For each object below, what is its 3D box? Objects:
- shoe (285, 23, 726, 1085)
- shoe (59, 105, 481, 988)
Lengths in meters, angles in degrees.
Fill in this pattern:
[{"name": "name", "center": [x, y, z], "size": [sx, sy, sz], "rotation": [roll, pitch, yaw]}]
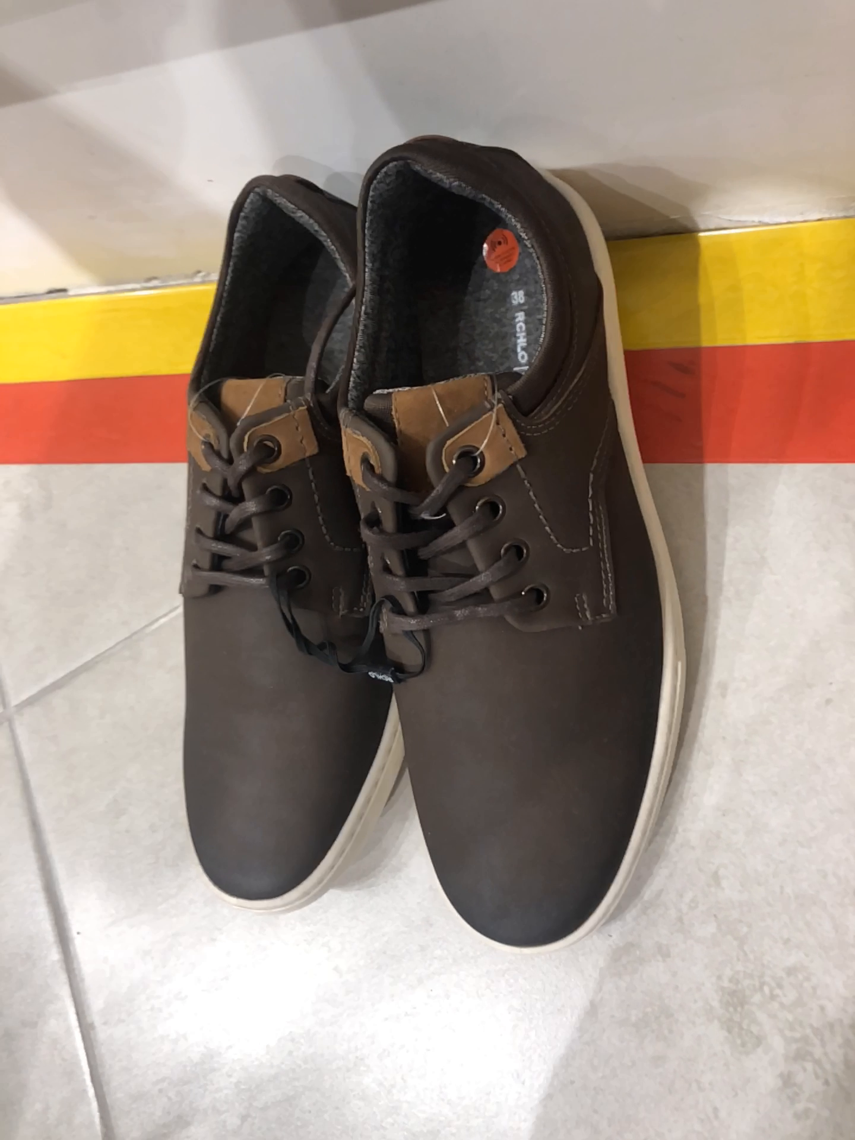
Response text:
[{"name": "shoe", "center": [0.031, -0.003, 0.306], "size": [0.100, 0.100, 0.270], "rotation": [-4, 89, 24]}, {"name": "shoe", "center": [-0.053, -0.009, 0.356], "size": [0.100, 0.100, 0.270], "rotation": [3, 89, 25]}]
